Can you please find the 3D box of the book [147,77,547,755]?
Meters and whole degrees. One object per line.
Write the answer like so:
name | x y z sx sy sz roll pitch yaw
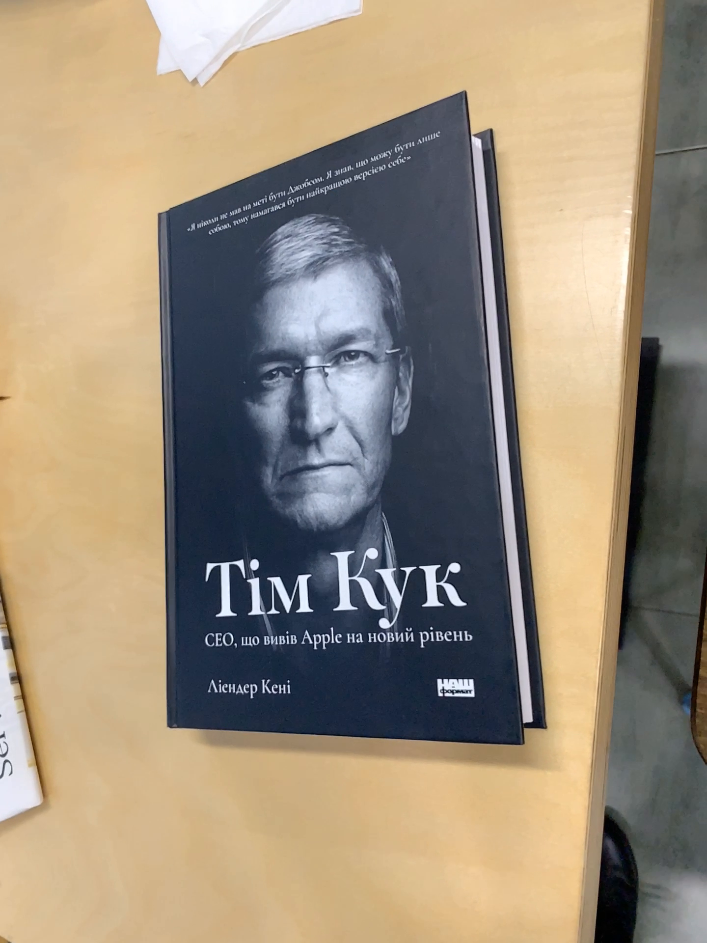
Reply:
book | -0.013 -0.015 0.277 0.145 0.034 0.217 -8 78 29
